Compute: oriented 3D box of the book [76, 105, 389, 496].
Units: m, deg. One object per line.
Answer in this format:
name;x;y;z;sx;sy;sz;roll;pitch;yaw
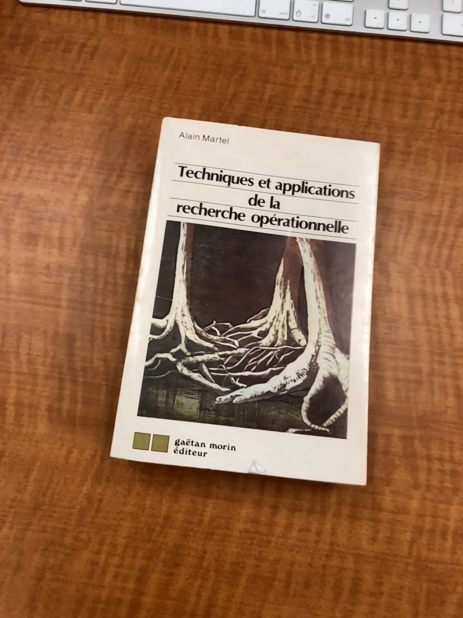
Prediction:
book;0.007;-0.007;0.353;0.170;0.070;0.230;7;77;-1
